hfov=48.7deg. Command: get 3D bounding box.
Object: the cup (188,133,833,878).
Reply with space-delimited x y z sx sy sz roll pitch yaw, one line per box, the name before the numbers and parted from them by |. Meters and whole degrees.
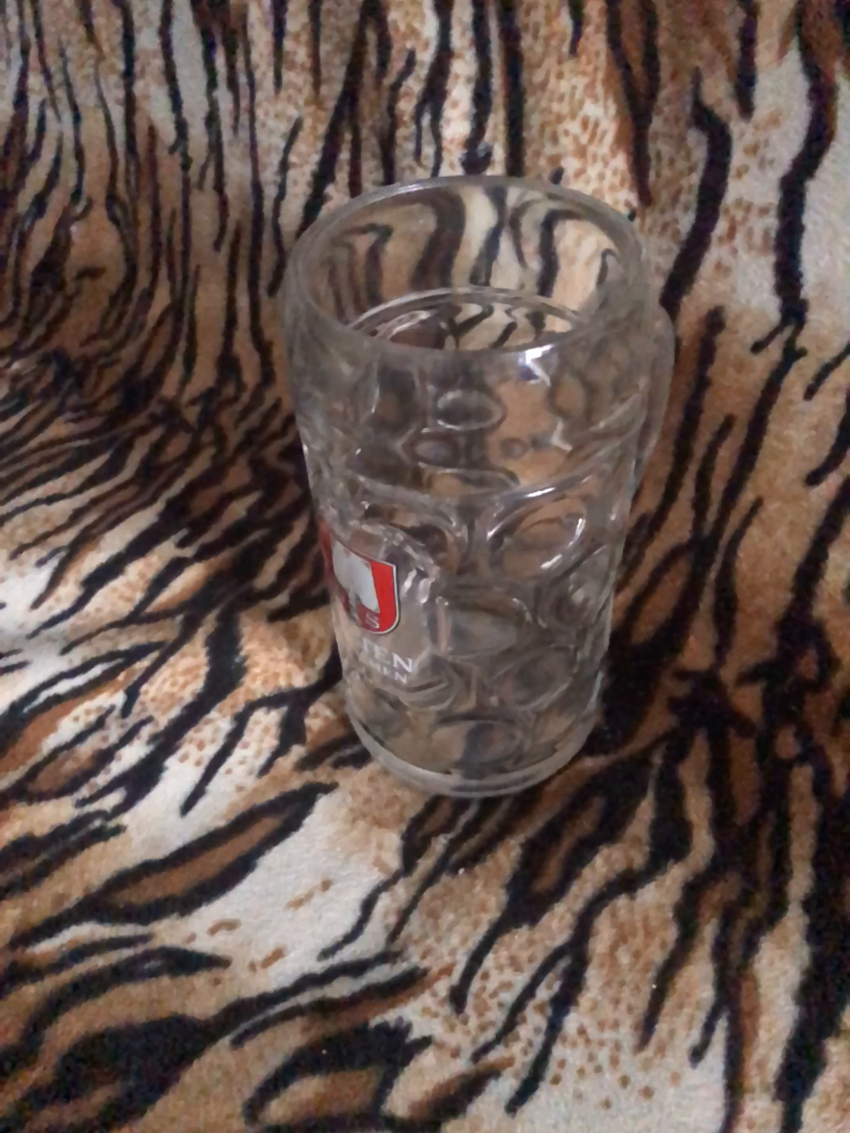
cup | 0.029 -0.026 0.342 0.150 0.194 0.121 -31 48 -29
